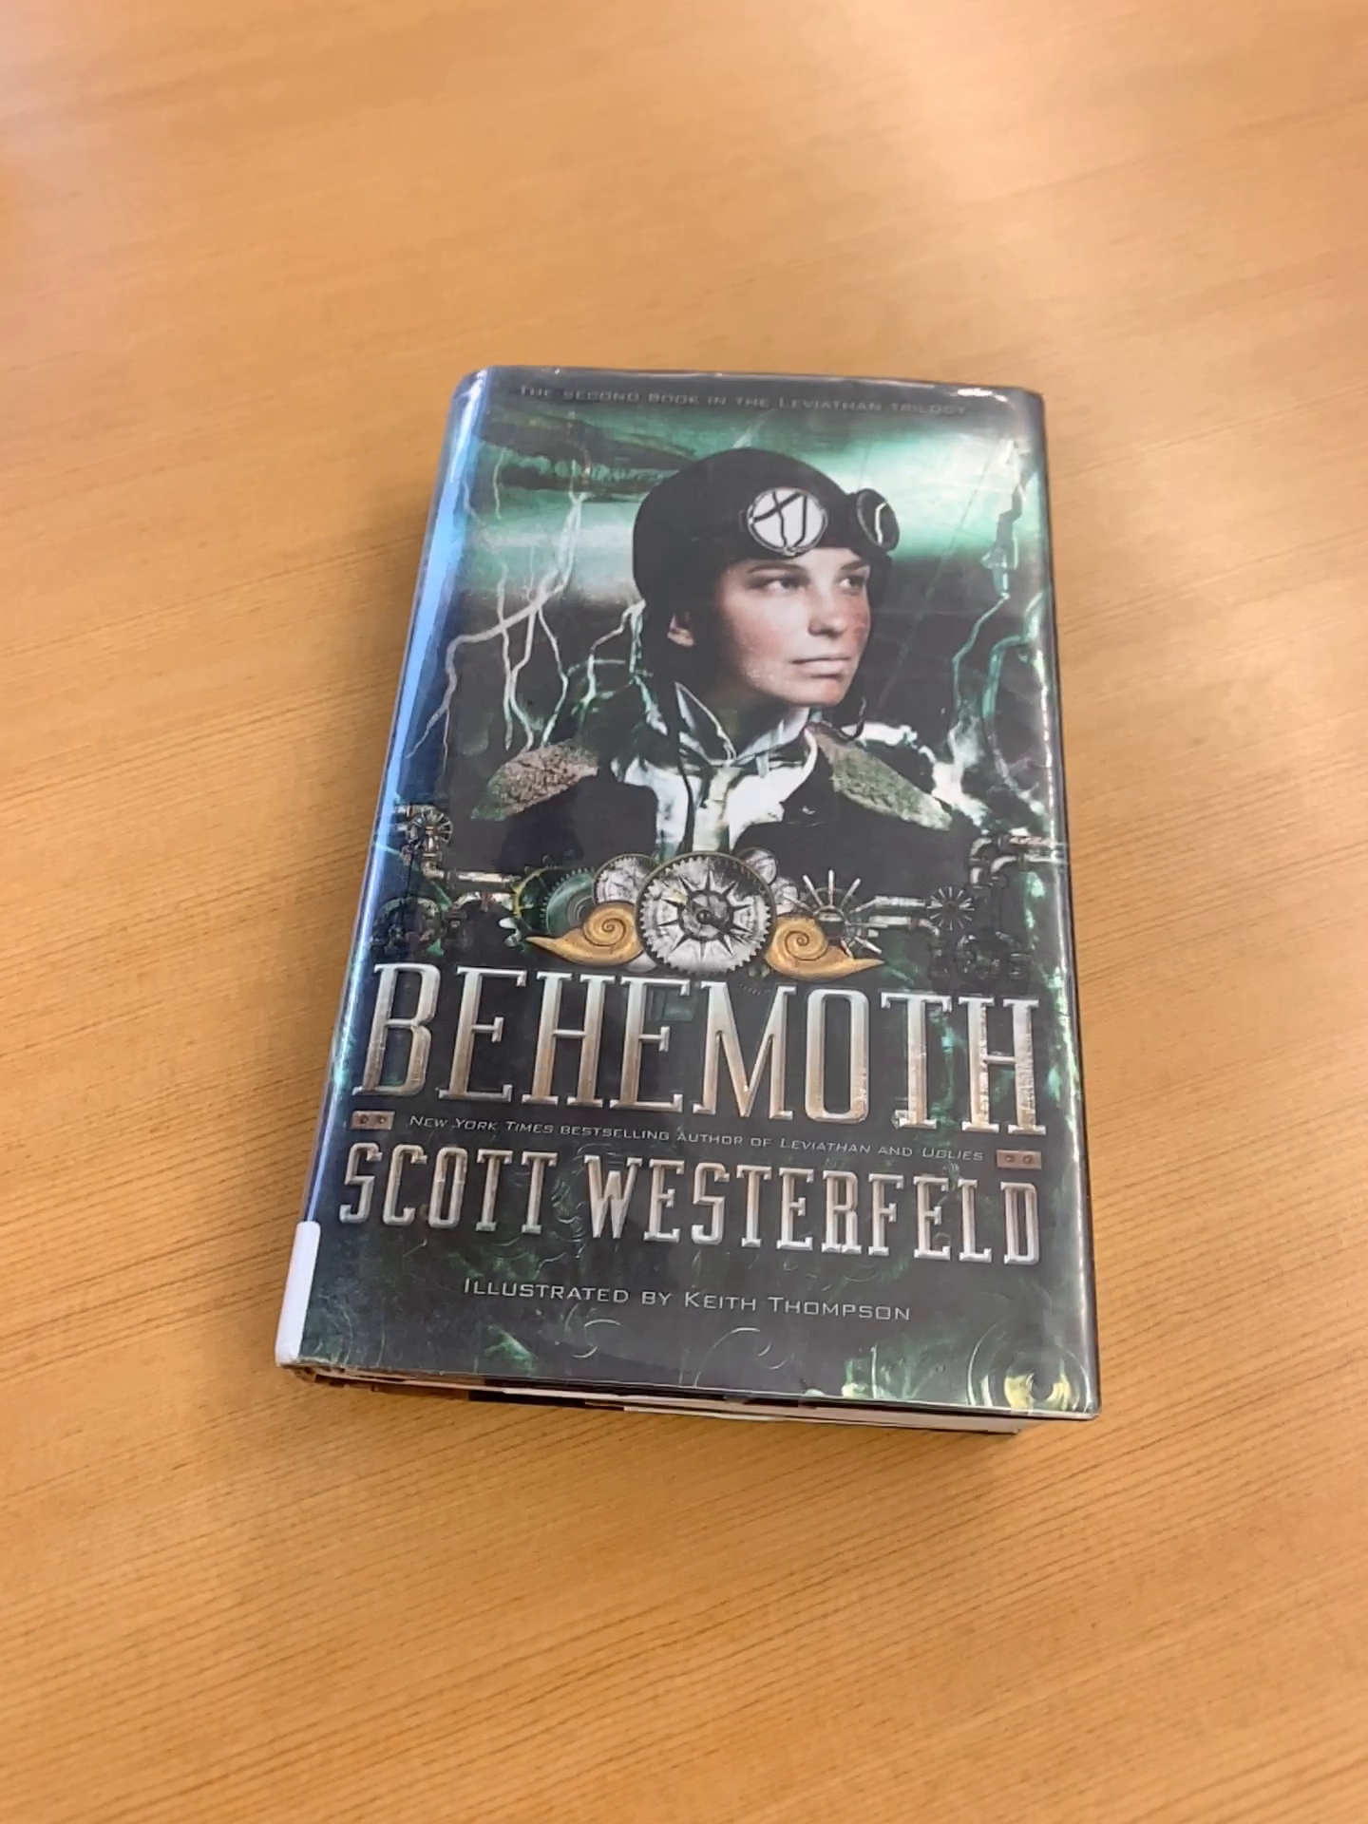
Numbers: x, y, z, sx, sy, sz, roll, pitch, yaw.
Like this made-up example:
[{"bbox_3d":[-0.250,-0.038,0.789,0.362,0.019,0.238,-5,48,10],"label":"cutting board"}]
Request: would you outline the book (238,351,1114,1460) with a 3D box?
[{"bbox_3d":[0.006,-0.013,0.315,0.150,0.050,0.241,3,65,3],"label":"book"}]
